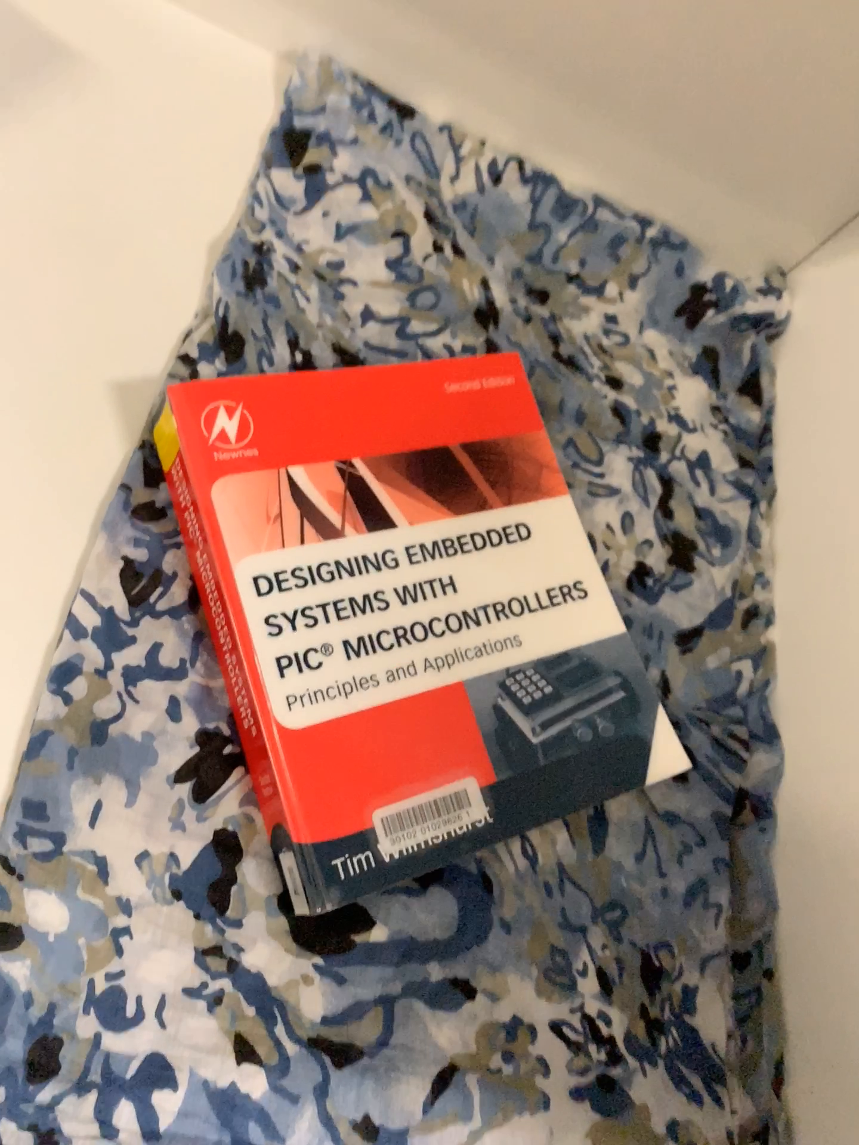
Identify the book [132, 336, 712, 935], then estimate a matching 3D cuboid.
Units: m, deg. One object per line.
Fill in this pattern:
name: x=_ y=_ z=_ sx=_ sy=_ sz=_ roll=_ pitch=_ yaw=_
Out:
book: x=-0.003 y=0.012 z=0.423 sx=0.210 sy=0.050 sz=0.237 roll=-13 pitch=76 yaw=-28
